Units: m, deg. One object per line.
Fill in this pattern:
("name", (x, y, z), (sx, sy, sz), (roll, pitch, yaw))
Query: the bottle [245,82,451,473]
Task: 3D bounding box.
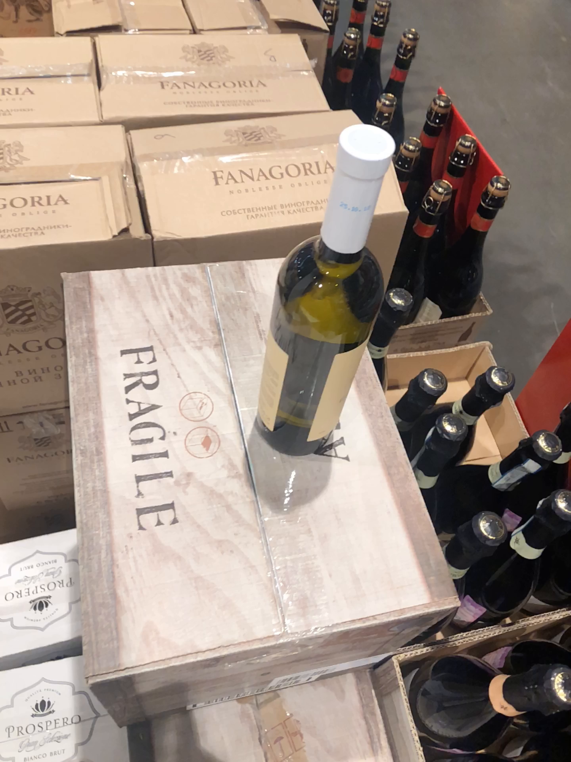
("bottle", (0.030, -0.046, 0.464), (0.080, 0.298, 0.091), (15, 55, 2))
